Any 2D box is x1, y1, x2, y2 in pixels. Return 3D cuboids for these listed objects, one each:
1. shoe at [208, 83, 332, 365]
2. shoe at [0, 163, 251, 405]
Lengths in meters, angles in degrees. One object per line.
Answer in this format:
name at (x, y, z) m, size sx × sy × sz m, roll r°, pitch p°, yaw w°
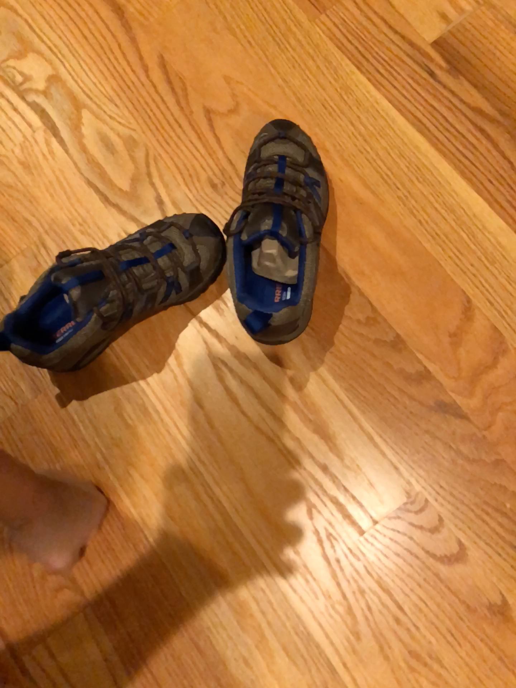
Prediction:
shoe at (0.018, -0.114, 0.557) m, size 0.097 × 0.094 × 0.252 m, roll 2°, pitch 78°, yaw 7°
shoe at (-0.137, -0.053, 0.571) m, size 0.240 × 0.106 × 0.094 m, roll -36°, pitch 76°, yaw -2°
